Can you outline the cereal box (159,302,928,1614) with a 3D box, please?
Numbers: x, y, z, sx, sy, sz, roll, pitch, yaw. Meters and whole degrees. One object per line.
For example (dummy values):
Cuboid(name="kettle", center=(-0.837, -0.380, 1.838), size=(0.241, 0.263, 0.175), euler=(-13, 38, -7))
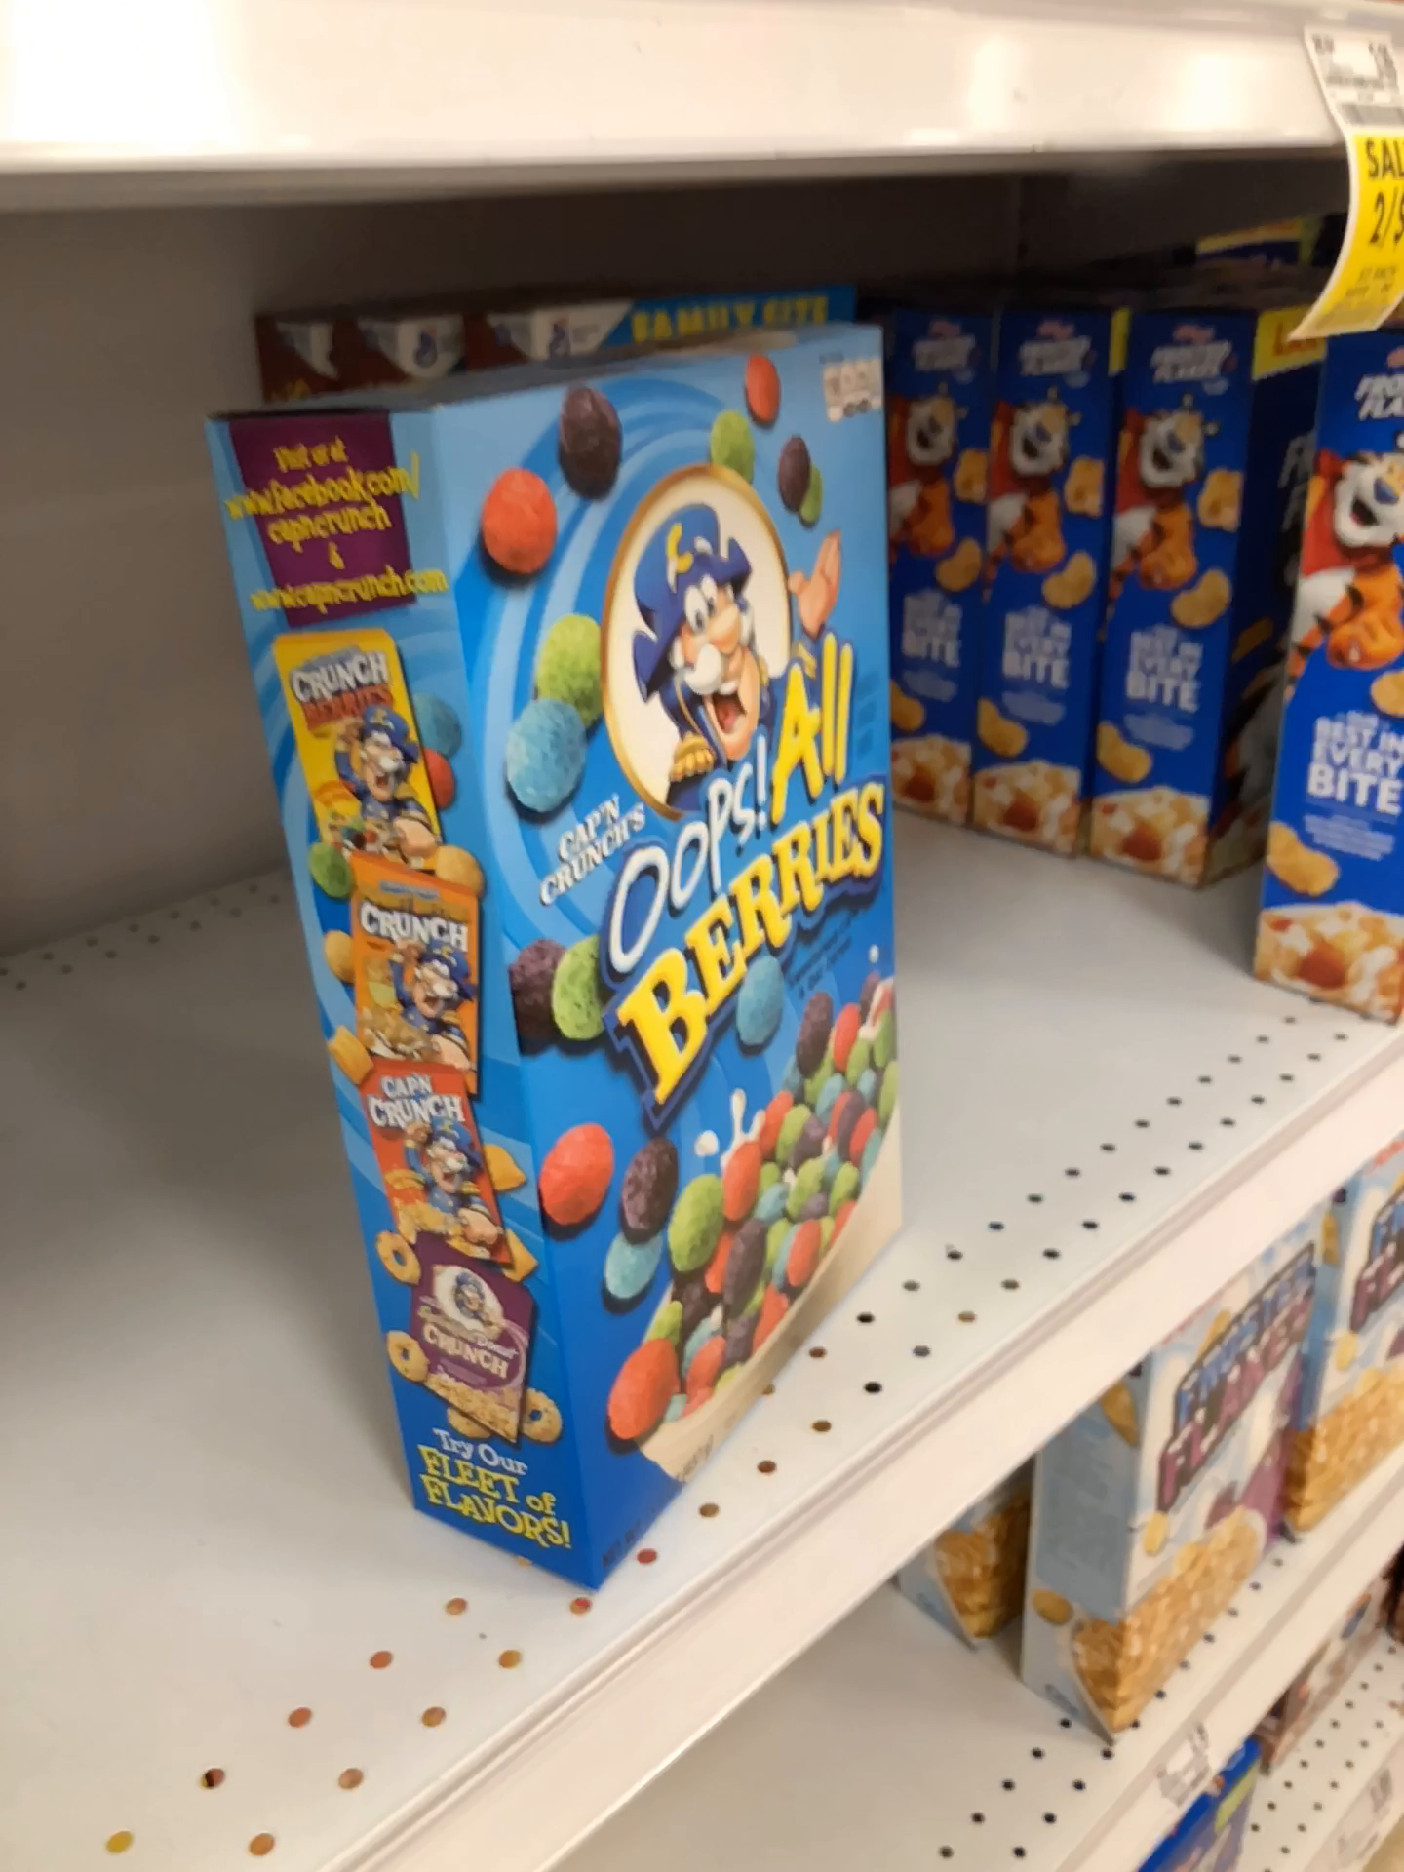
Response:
Cuboid(name="cereal box", center=(-0.016, -0.007, 0.470), size=(0.080, 0.319, 0.220), euler=(12, 29, 30))
